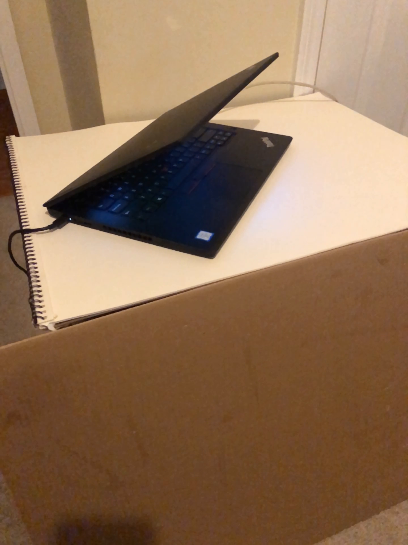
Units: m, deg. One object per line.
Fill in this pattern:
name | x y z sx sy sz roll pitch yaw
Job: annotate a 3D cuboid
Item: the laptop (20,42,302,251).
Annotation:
laptop | -0.029 -0.191 0.588 0.227 0.115 0.319 15 43 18
